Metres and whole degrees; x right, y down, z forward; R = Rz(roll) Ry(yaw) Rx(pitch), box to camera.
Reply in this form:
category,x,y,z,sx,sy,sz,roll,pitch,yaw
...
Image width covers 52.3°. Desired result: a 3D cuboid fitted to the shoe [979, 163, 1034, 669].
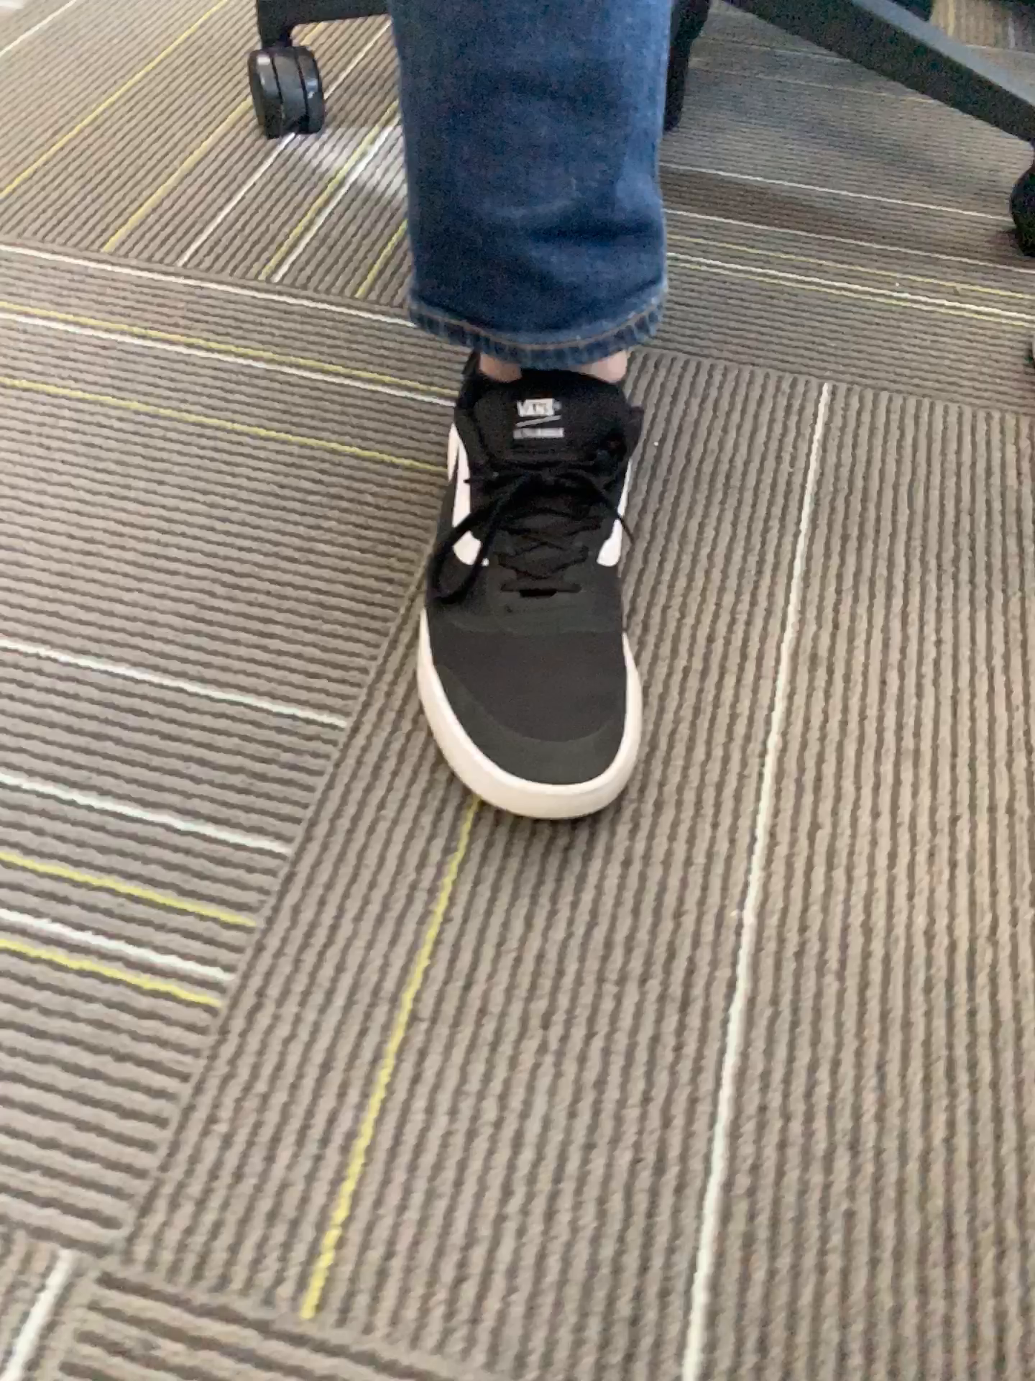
category,x,y,z,sx,sy,sz,roll,pitch,yaw
shoe,0.463,-0.179,0.634,0.120,0.110,0.321,-28,59,-21

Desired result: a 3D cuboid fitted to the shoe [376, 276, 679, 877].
category,x,y,z,sx,sy,sz,roll,pitch,yaw
shoe,0.001,-0.074,0.562,0.120,0.119,0.321,1,53,-2
